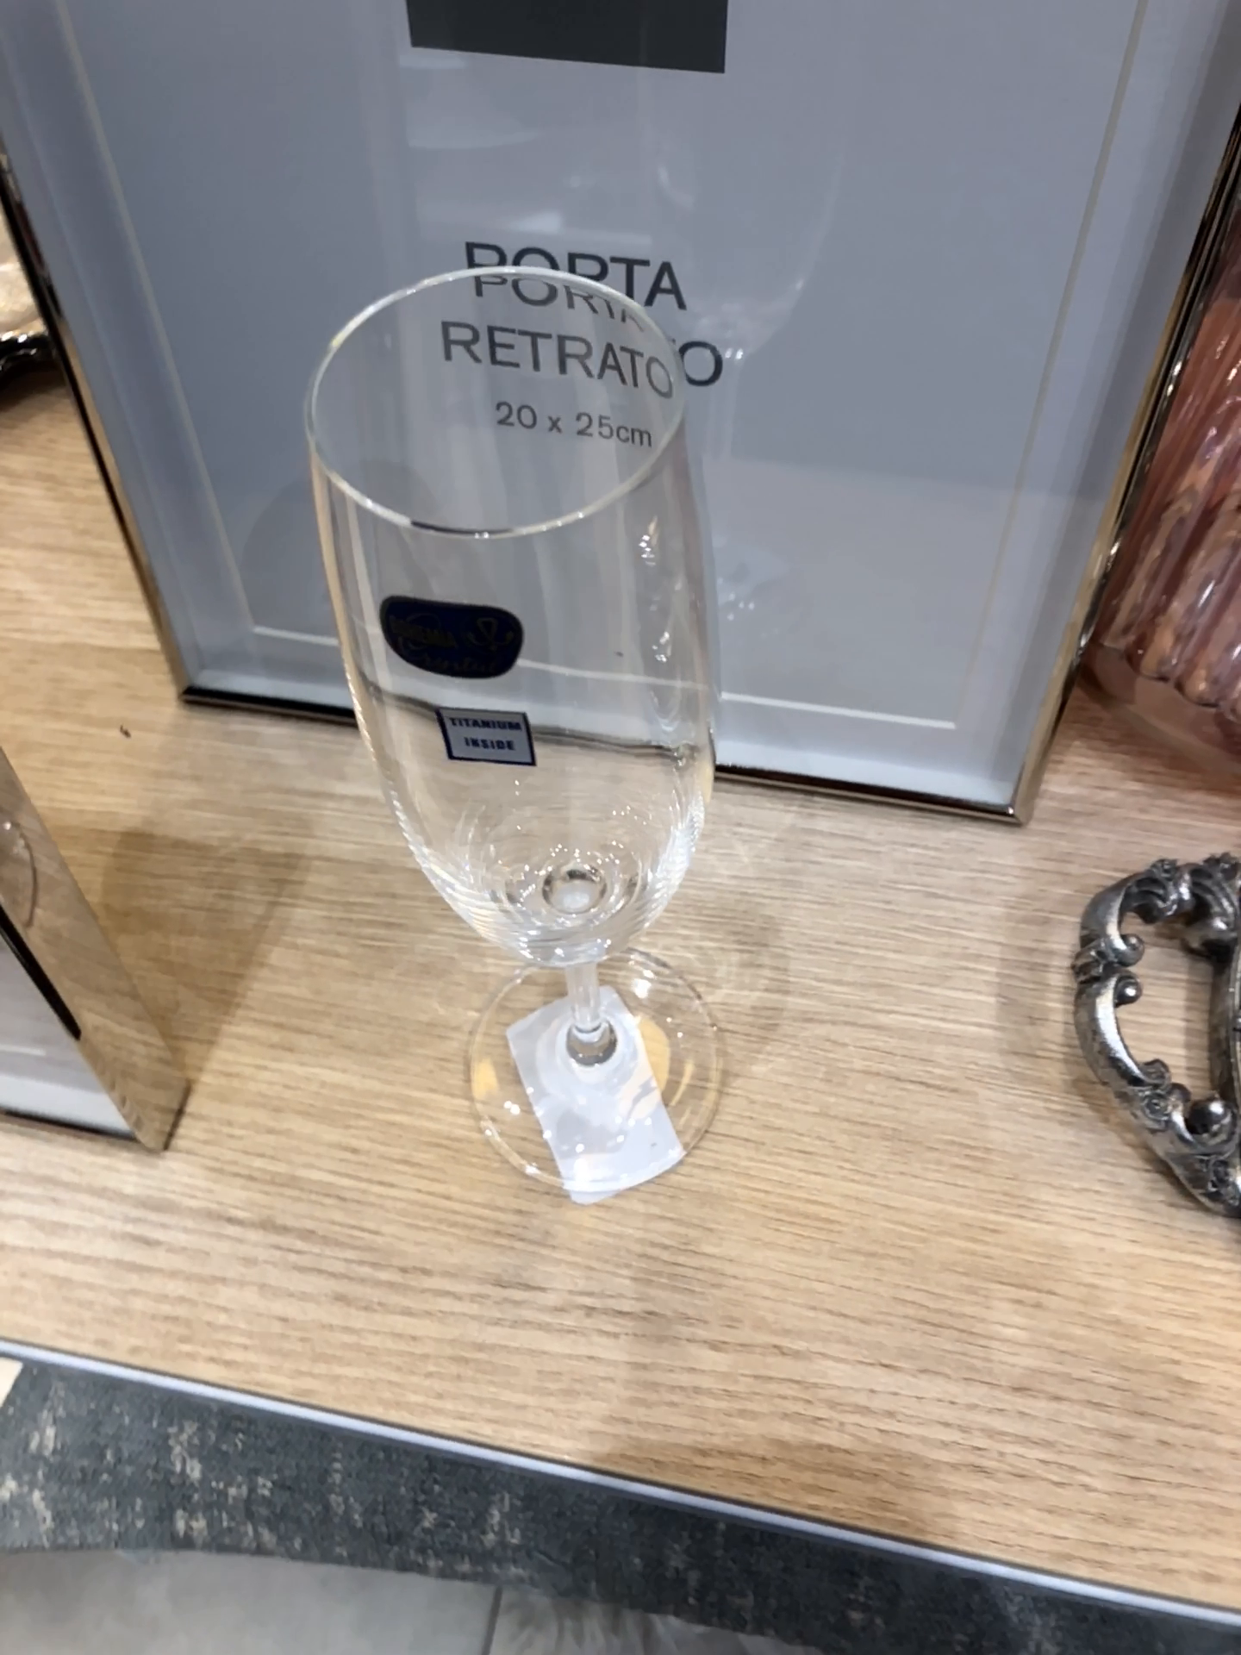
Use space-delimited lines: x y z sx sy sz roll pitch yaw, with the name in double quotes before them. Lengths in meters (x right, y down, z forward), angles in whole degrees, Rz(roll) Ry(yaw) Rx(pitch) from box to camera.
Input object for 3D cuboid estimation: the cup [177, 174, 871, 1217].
"cup" -0.004 0.003 0.255 0.070 0.219 0.070 -1 59 2
